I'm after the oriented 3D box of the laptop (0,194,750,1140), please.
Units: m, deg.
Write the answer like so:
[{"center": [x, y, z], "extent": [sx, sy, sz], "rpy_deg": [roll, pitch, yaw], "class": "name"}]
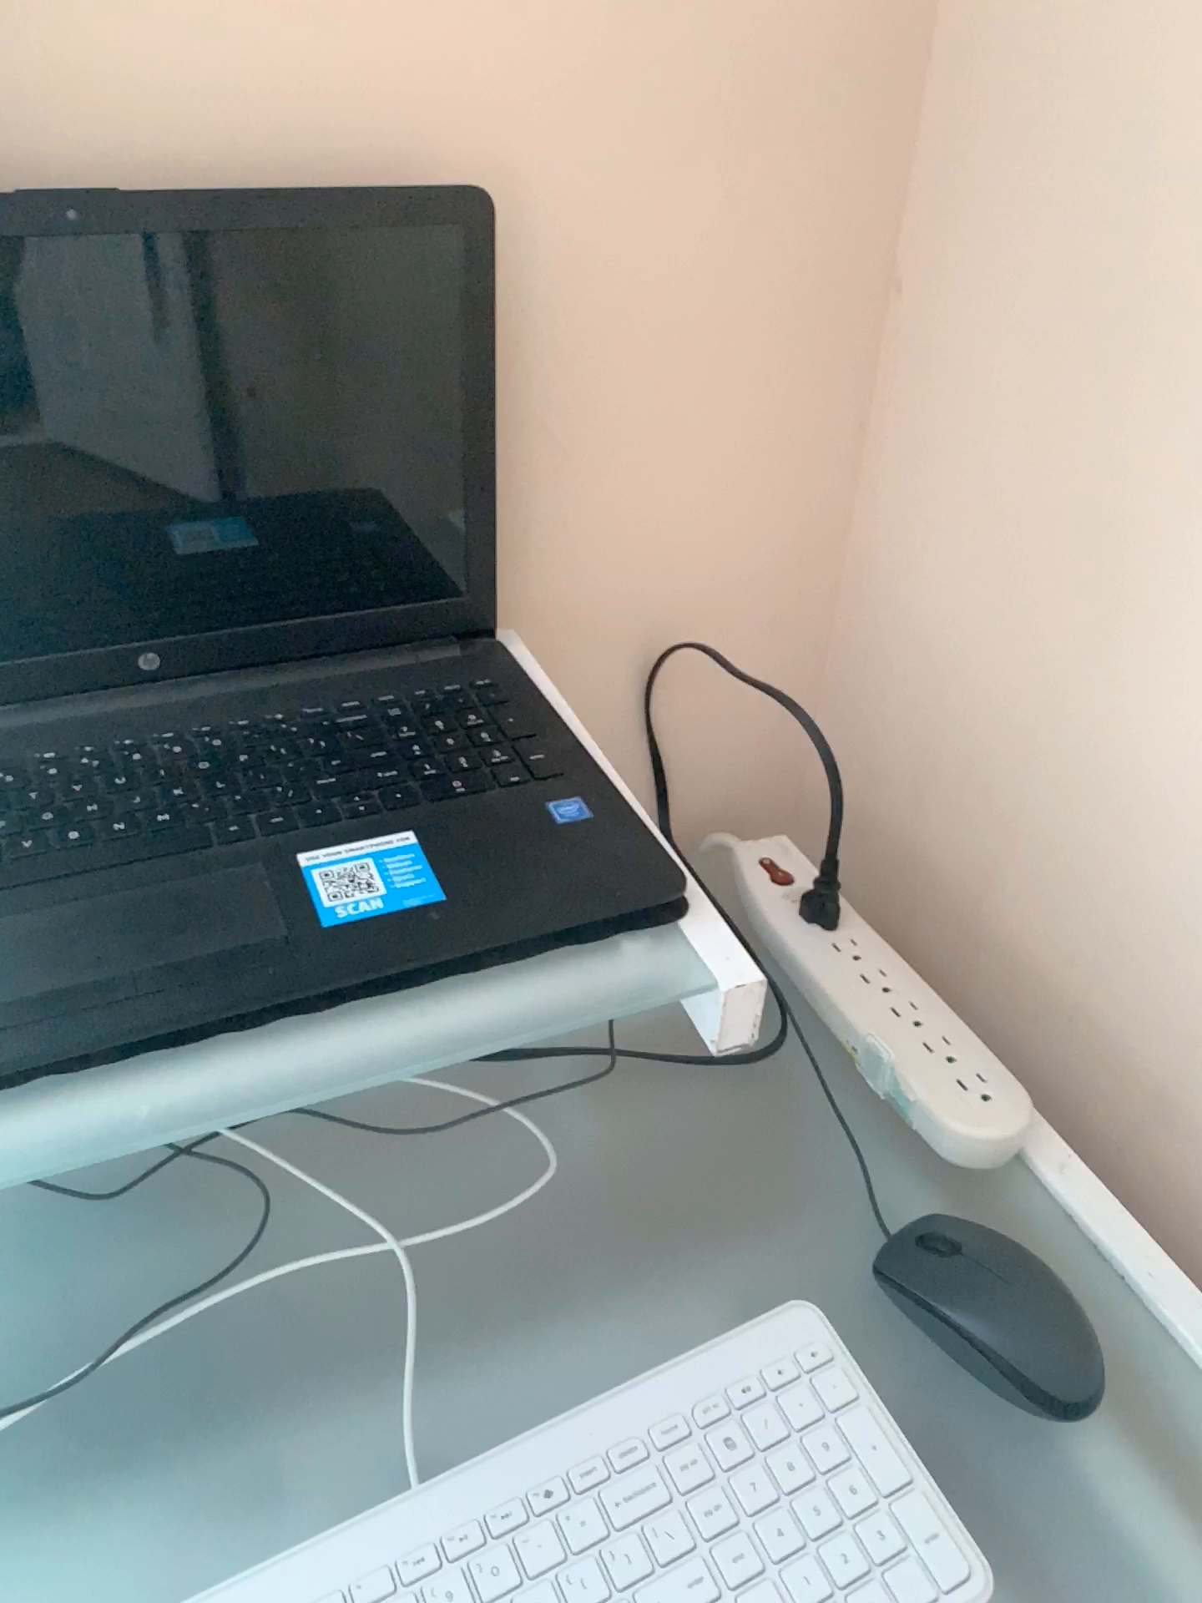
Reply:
[{"center": [-0.174, -0.087, 0.479], "extent": [0.358, 0.225, 0.246], "rpy_deg": [-12, 37, -22], "class": "laptop"}]
